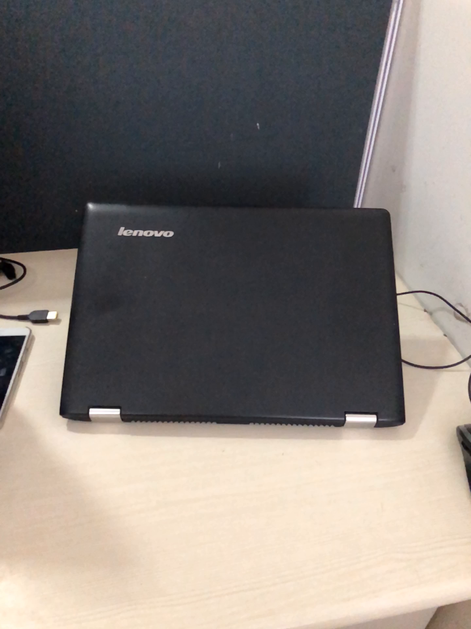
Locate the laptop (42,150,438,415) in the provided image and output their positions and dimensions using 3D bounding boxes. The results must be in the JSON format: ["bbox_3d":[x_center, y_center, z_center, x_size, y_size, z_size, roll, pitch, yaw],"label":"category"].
[{"bbox_3d":[0.002,-0.039,0.537,0.323,0.142,0.206,2,44,-1],"label":"laptop"}]
